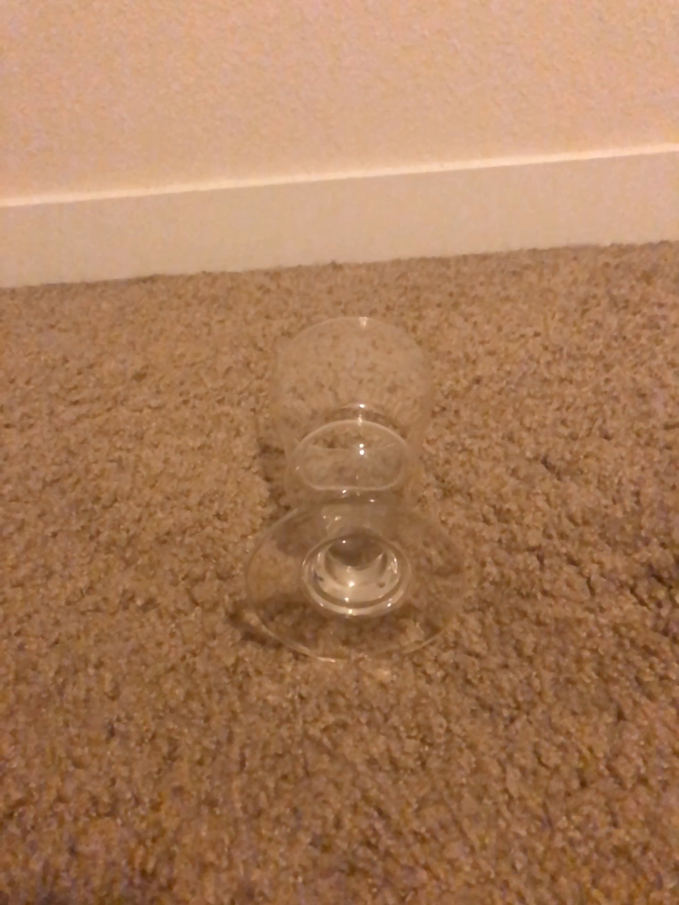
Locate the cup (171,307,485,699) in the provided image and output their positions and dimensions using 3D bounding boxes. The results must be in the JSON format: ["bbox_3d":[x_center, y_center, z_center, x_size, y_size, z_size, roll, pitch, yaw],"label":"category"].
[{"bbox_3d":[-0.002,0.009,0.316,0.094,0.078,0.158,-7,31,3],"label":"cup"}]
